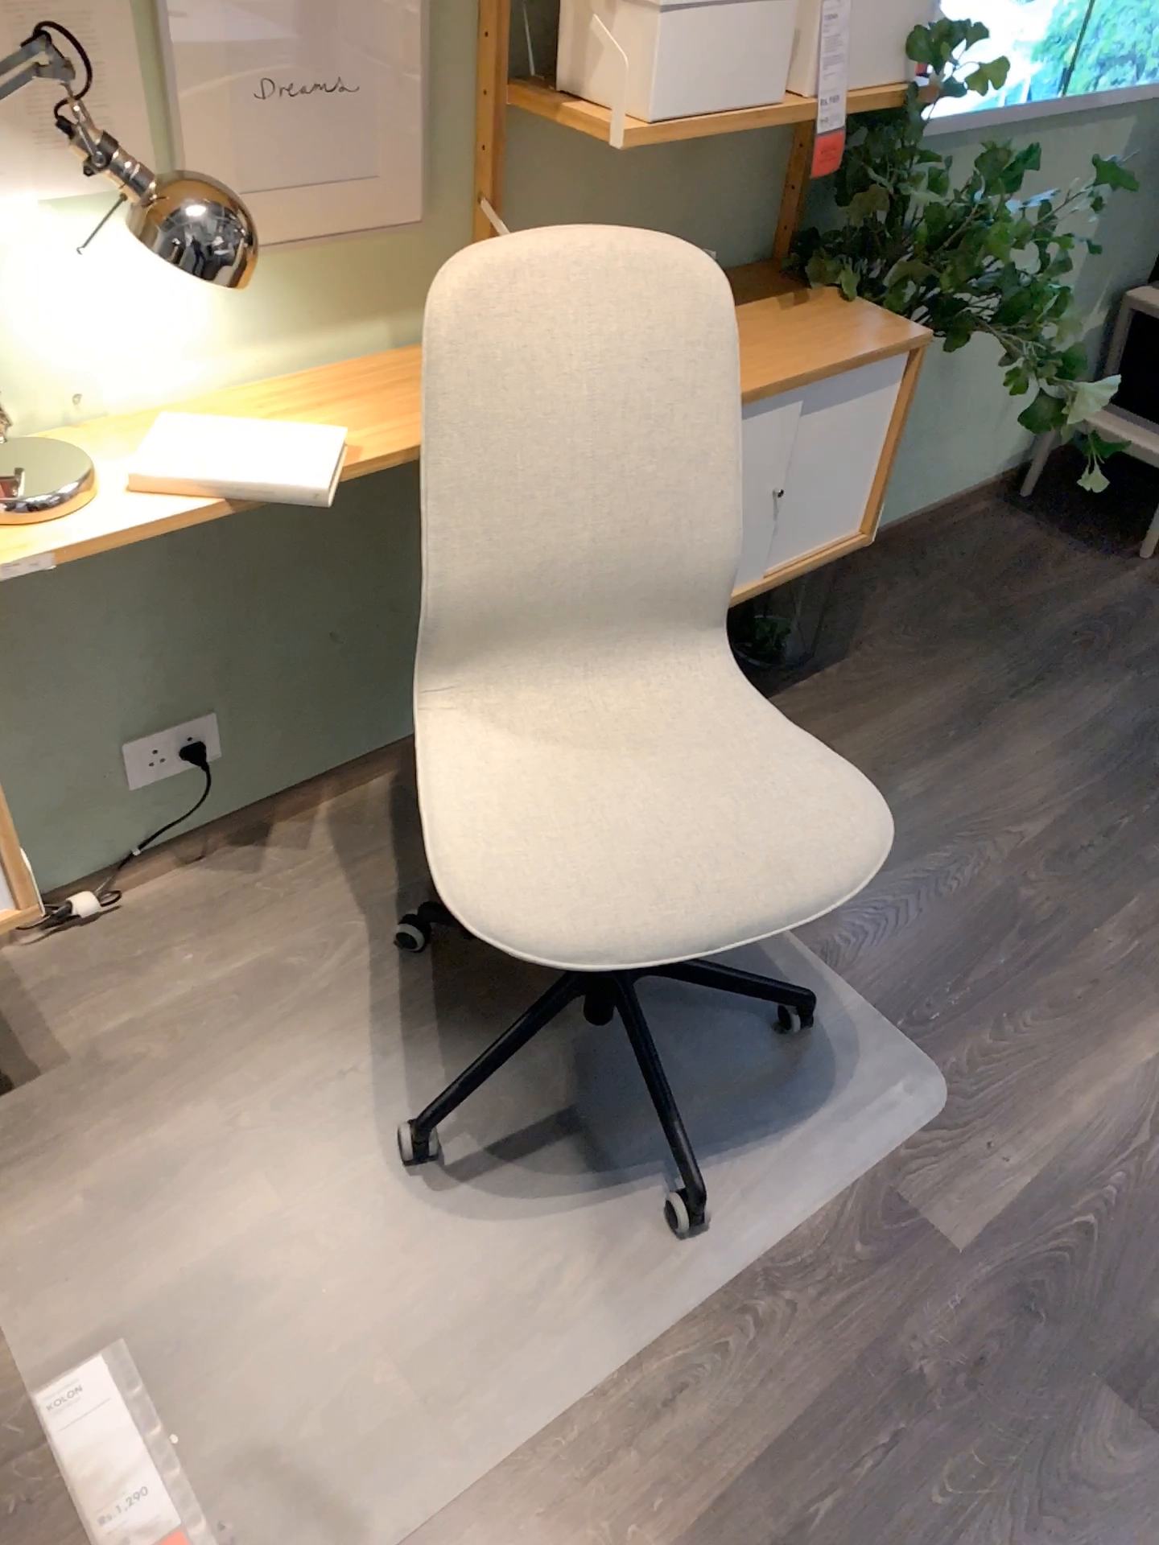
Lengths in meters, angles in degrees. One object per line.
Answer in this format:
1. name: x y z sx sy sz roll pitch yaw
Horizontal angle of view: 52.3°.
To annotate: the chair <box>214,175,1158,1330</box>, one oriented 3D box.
1. chair: 0.045 -0.021 1.344 0.671 1.016 0.672 -12 46 -20
